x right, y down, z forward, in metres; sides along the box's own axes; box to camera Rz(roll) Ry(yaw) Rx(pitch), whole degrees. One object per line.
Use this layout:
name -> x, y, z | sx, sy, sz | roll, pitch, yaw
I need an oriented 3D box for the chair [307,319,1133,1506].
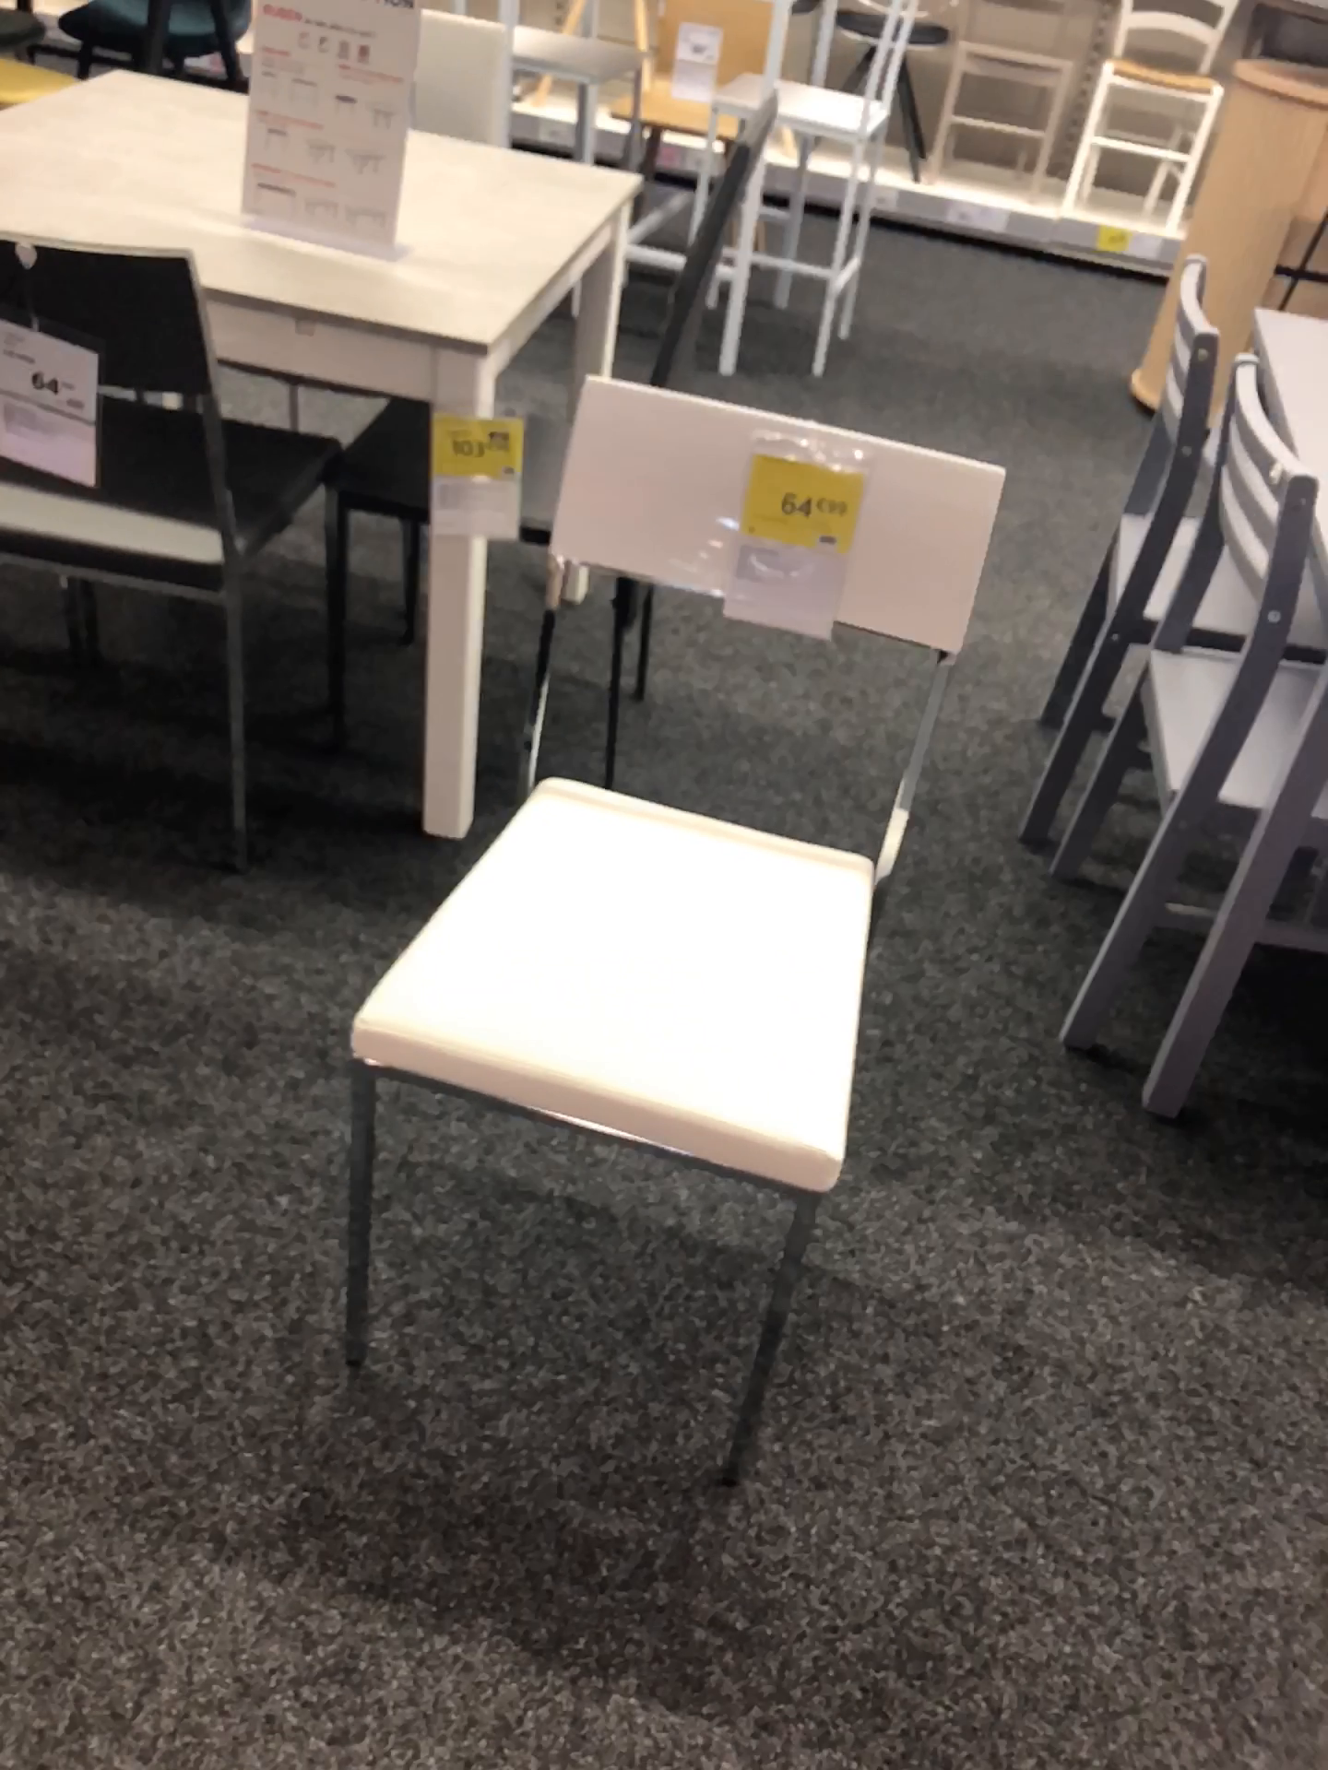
chair -> 0.031, 0.030, 1.321 | 0.500, 0.815, 0.544 | 14, 38, 5
